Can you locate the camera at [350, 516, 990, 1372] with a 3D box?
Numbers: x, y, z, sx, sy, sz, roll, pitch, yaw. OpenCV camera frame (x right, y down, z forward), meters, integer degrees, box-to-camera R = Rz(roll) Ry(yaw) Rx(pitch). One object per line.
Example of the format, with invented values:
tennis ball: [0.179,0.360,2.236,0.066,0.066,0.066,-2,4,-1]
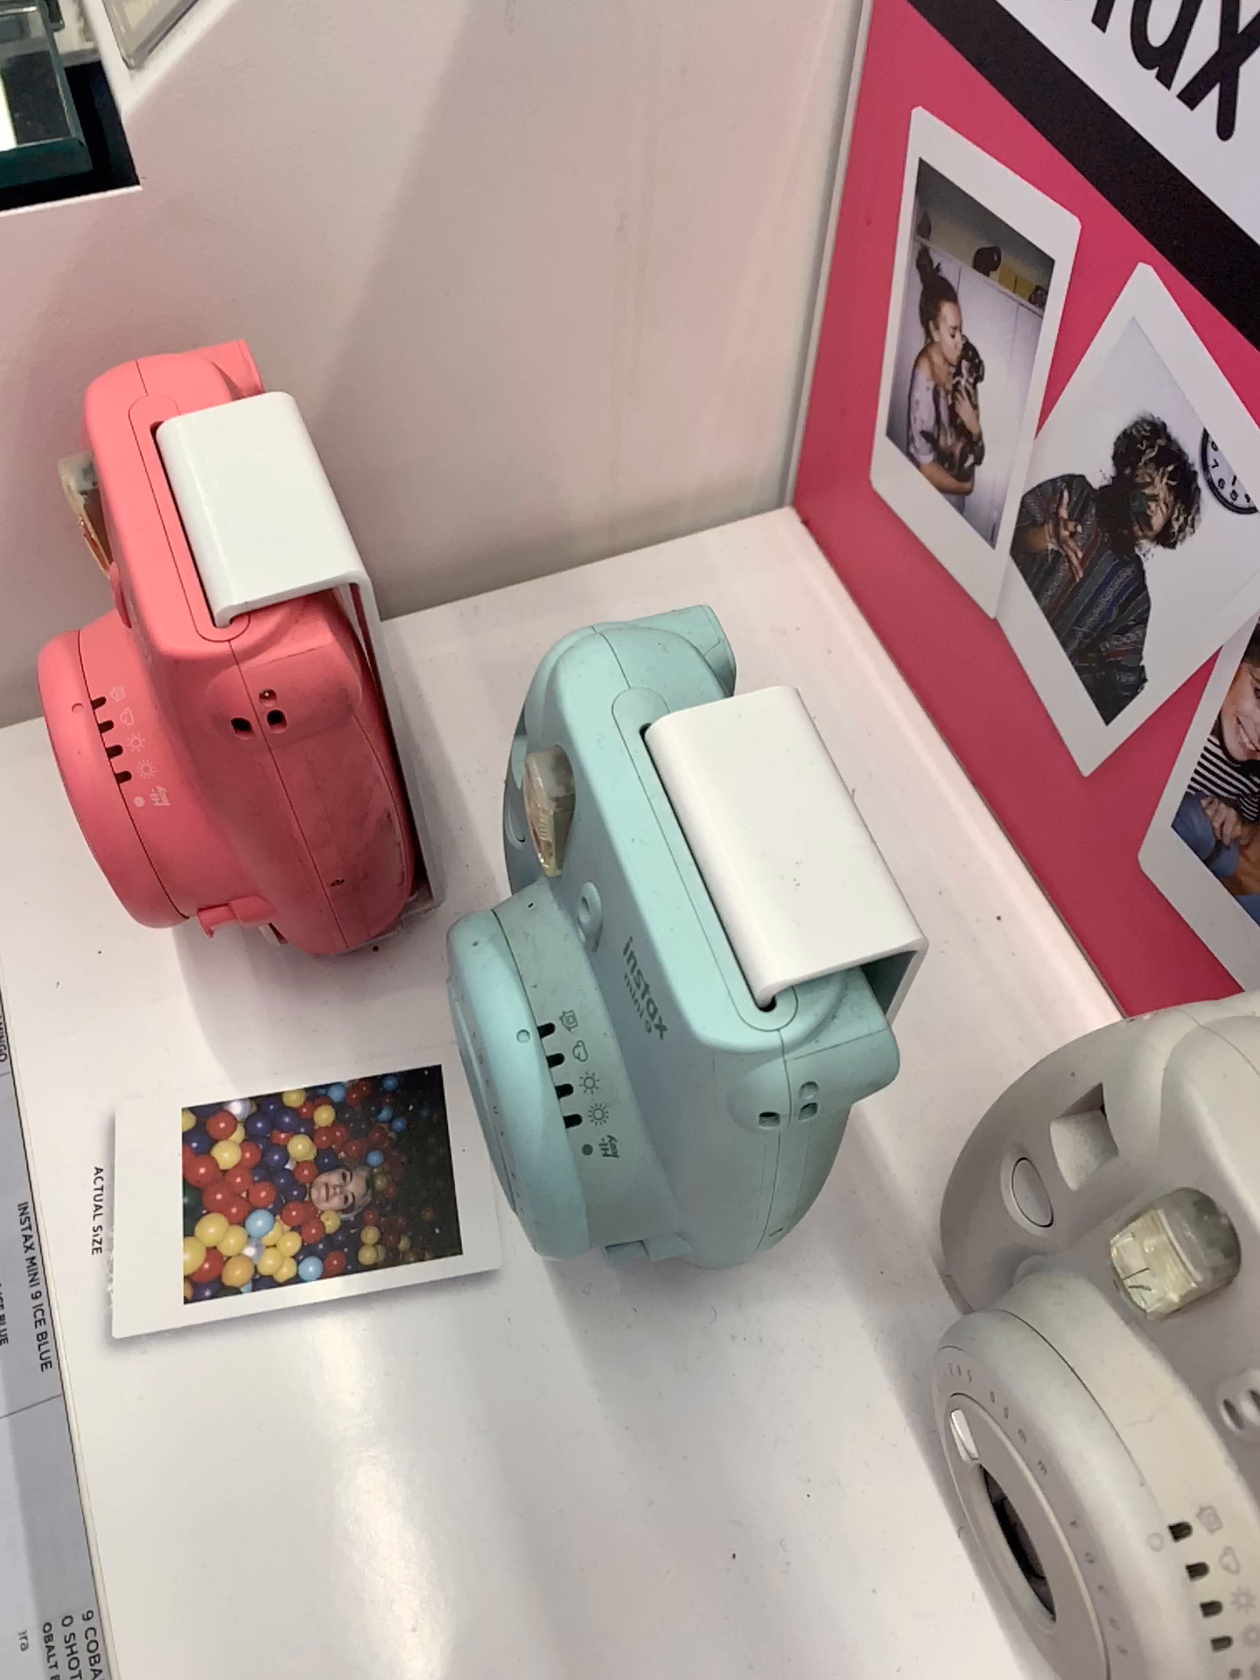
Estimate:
camera: [0.000,0.028,0.261,0.070,0.129,0.111,-15,59,-10]
